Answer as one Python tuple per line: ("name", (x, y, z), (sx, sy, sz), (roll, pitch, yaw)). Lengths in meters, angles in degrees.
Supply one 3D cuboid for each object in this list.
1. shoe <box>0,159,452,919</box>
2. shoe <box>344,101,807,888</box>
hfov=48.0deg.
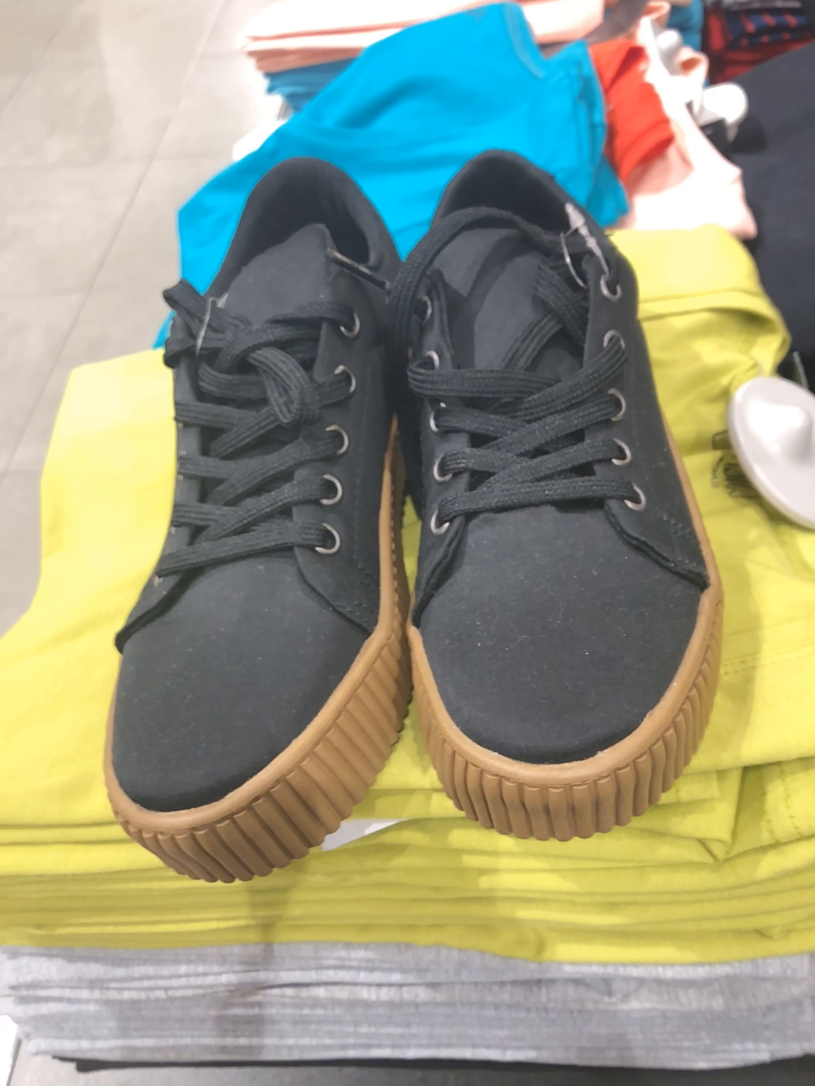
("shoe", (-0.043, -0.015, 0.288), (0.090, 0.079, 0.231), (-3, 52, 12))
("shoe", (0.041, -0.030, 0.284), (0.090, 0.079, 0.242), (-6, 52, 9))
